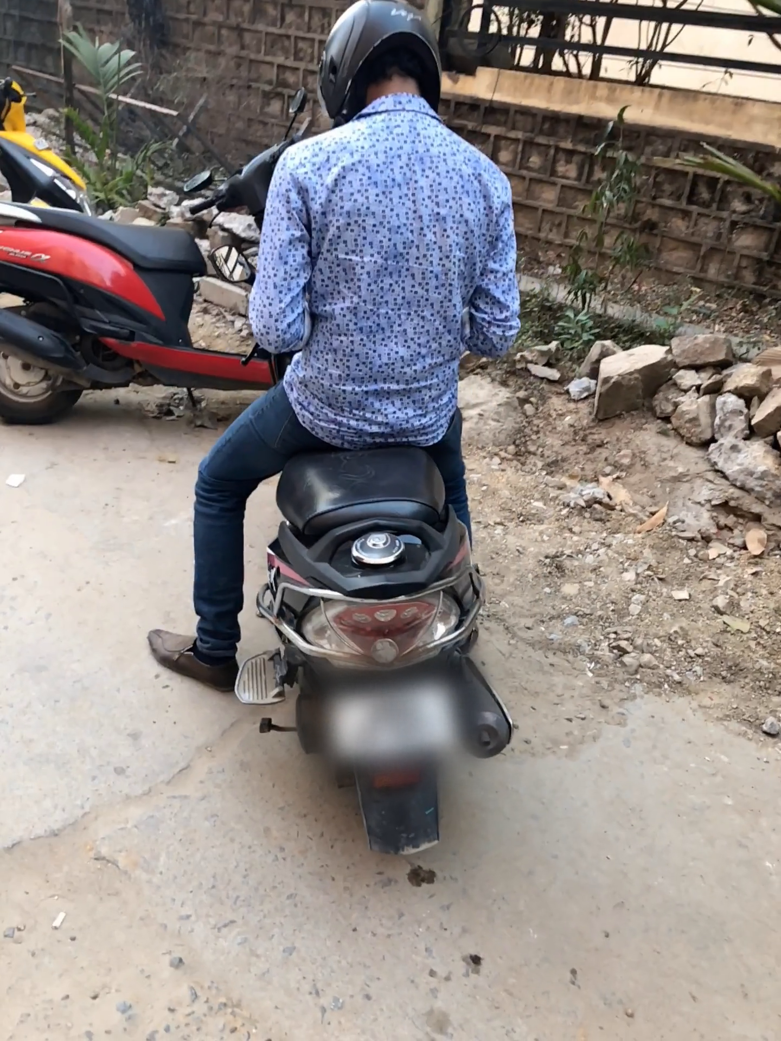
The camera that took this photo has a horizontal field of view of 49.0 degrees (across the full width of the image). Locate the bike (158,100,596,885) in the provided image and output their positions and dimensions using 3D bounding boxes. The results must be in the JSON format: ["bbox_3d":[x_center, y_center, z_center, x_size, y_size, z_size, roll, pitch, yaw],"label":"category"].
[{"bbox_3d":[-0.223,-0.216,1.987,0.559,1.054,1.482,0,32,-16],"label":"bike"}]
